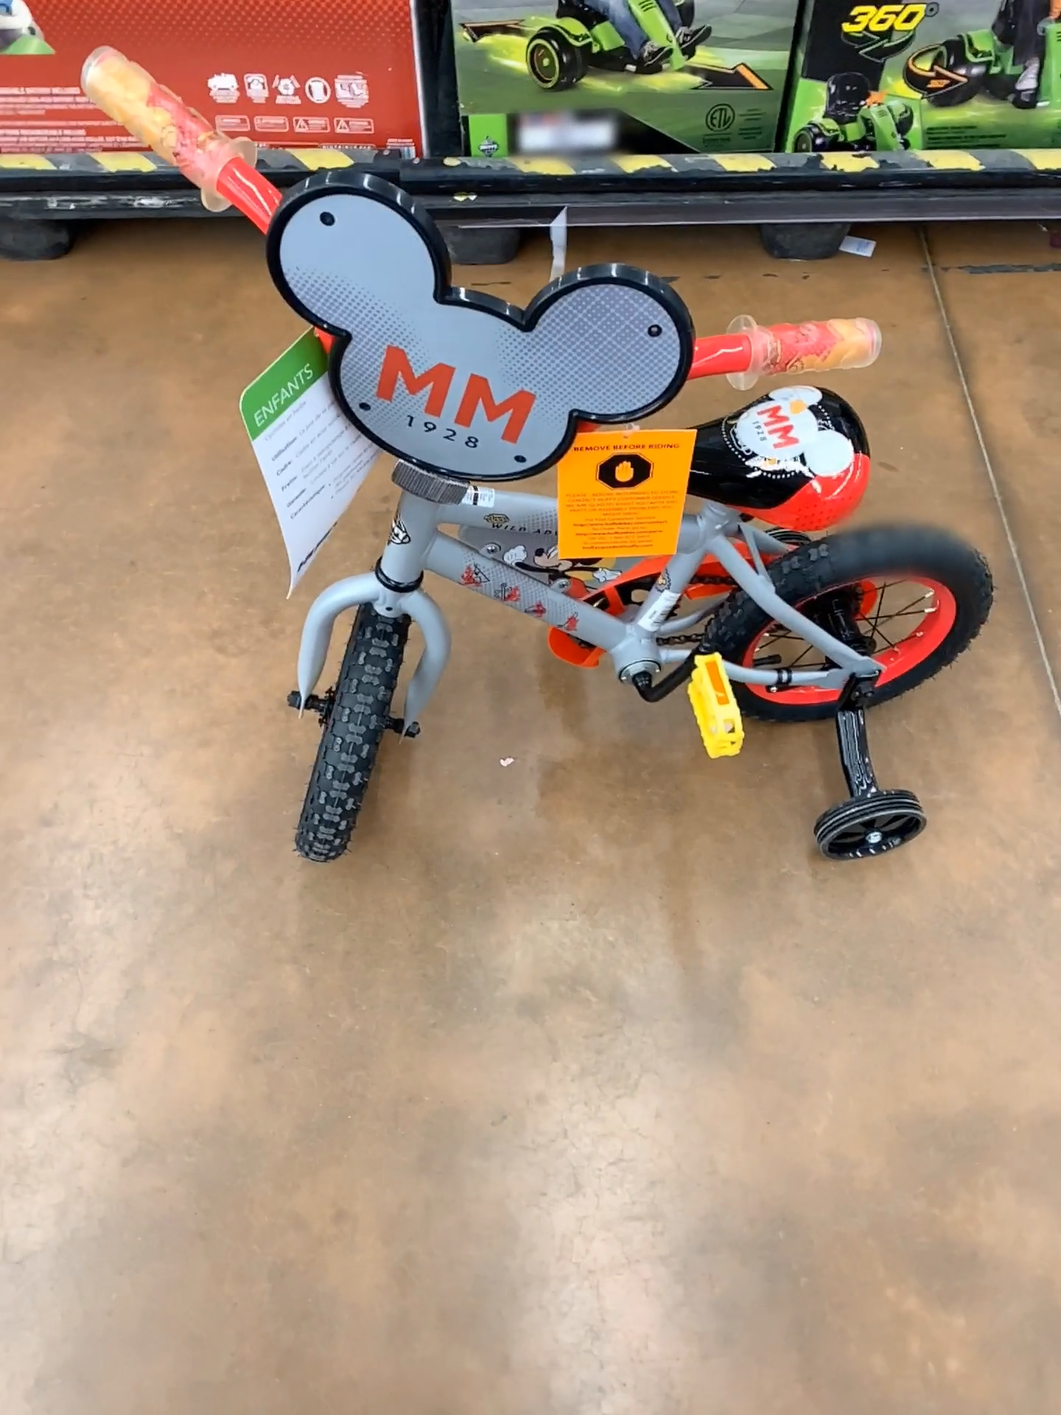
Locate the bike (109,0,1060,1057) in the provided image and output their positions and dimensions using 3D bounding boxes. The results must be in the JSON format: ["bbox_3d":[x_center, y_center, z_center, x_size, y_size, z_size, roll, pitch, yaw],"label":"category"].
[{"bbox_3d":[0.085,-0.136,0.902,0.641,0.689,0.453,-16,57,-5],"label":"bike"}]
